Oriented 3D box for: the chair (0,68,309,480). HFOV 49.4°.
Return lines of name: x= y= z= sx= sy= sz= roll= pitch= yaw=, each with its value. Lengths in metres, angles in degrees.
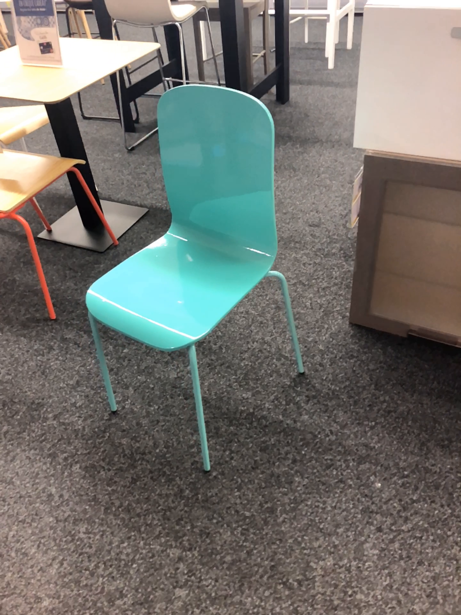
chair: x=-0.137 y=-0.084 z=1.343 sx=0.490 sy=0.865 sz=0.503 roll=22 pitch=48 yaw=29
